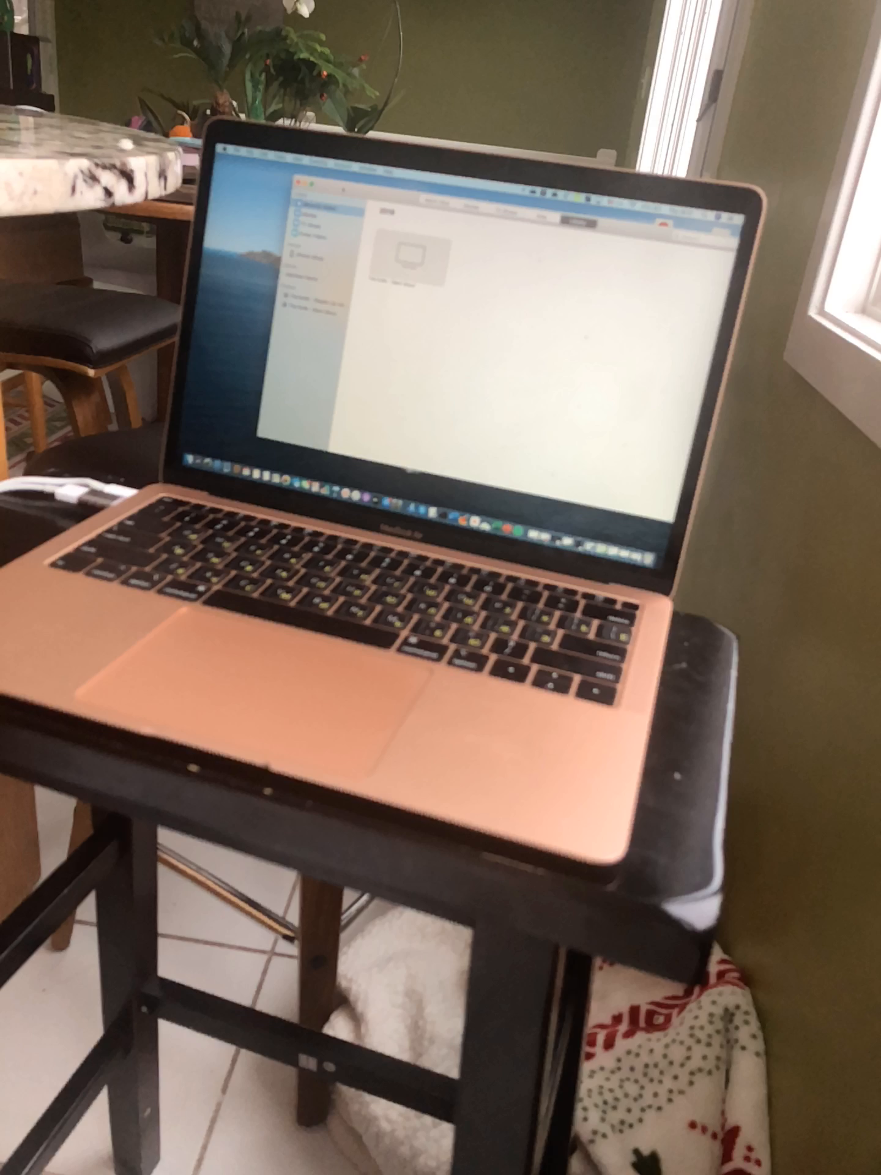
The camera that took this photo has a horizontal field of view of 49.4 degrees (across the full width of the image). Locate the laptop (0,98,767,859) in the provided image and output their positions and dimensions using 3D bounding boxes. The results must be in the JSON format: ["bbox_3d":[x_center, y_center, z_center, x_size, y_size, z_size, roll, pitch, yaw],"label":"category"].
[{"bbox_3d":[-0.033,-0.085,0.422,0.297,0.196,0.265,13,27,13],"label":"laptop"}]
